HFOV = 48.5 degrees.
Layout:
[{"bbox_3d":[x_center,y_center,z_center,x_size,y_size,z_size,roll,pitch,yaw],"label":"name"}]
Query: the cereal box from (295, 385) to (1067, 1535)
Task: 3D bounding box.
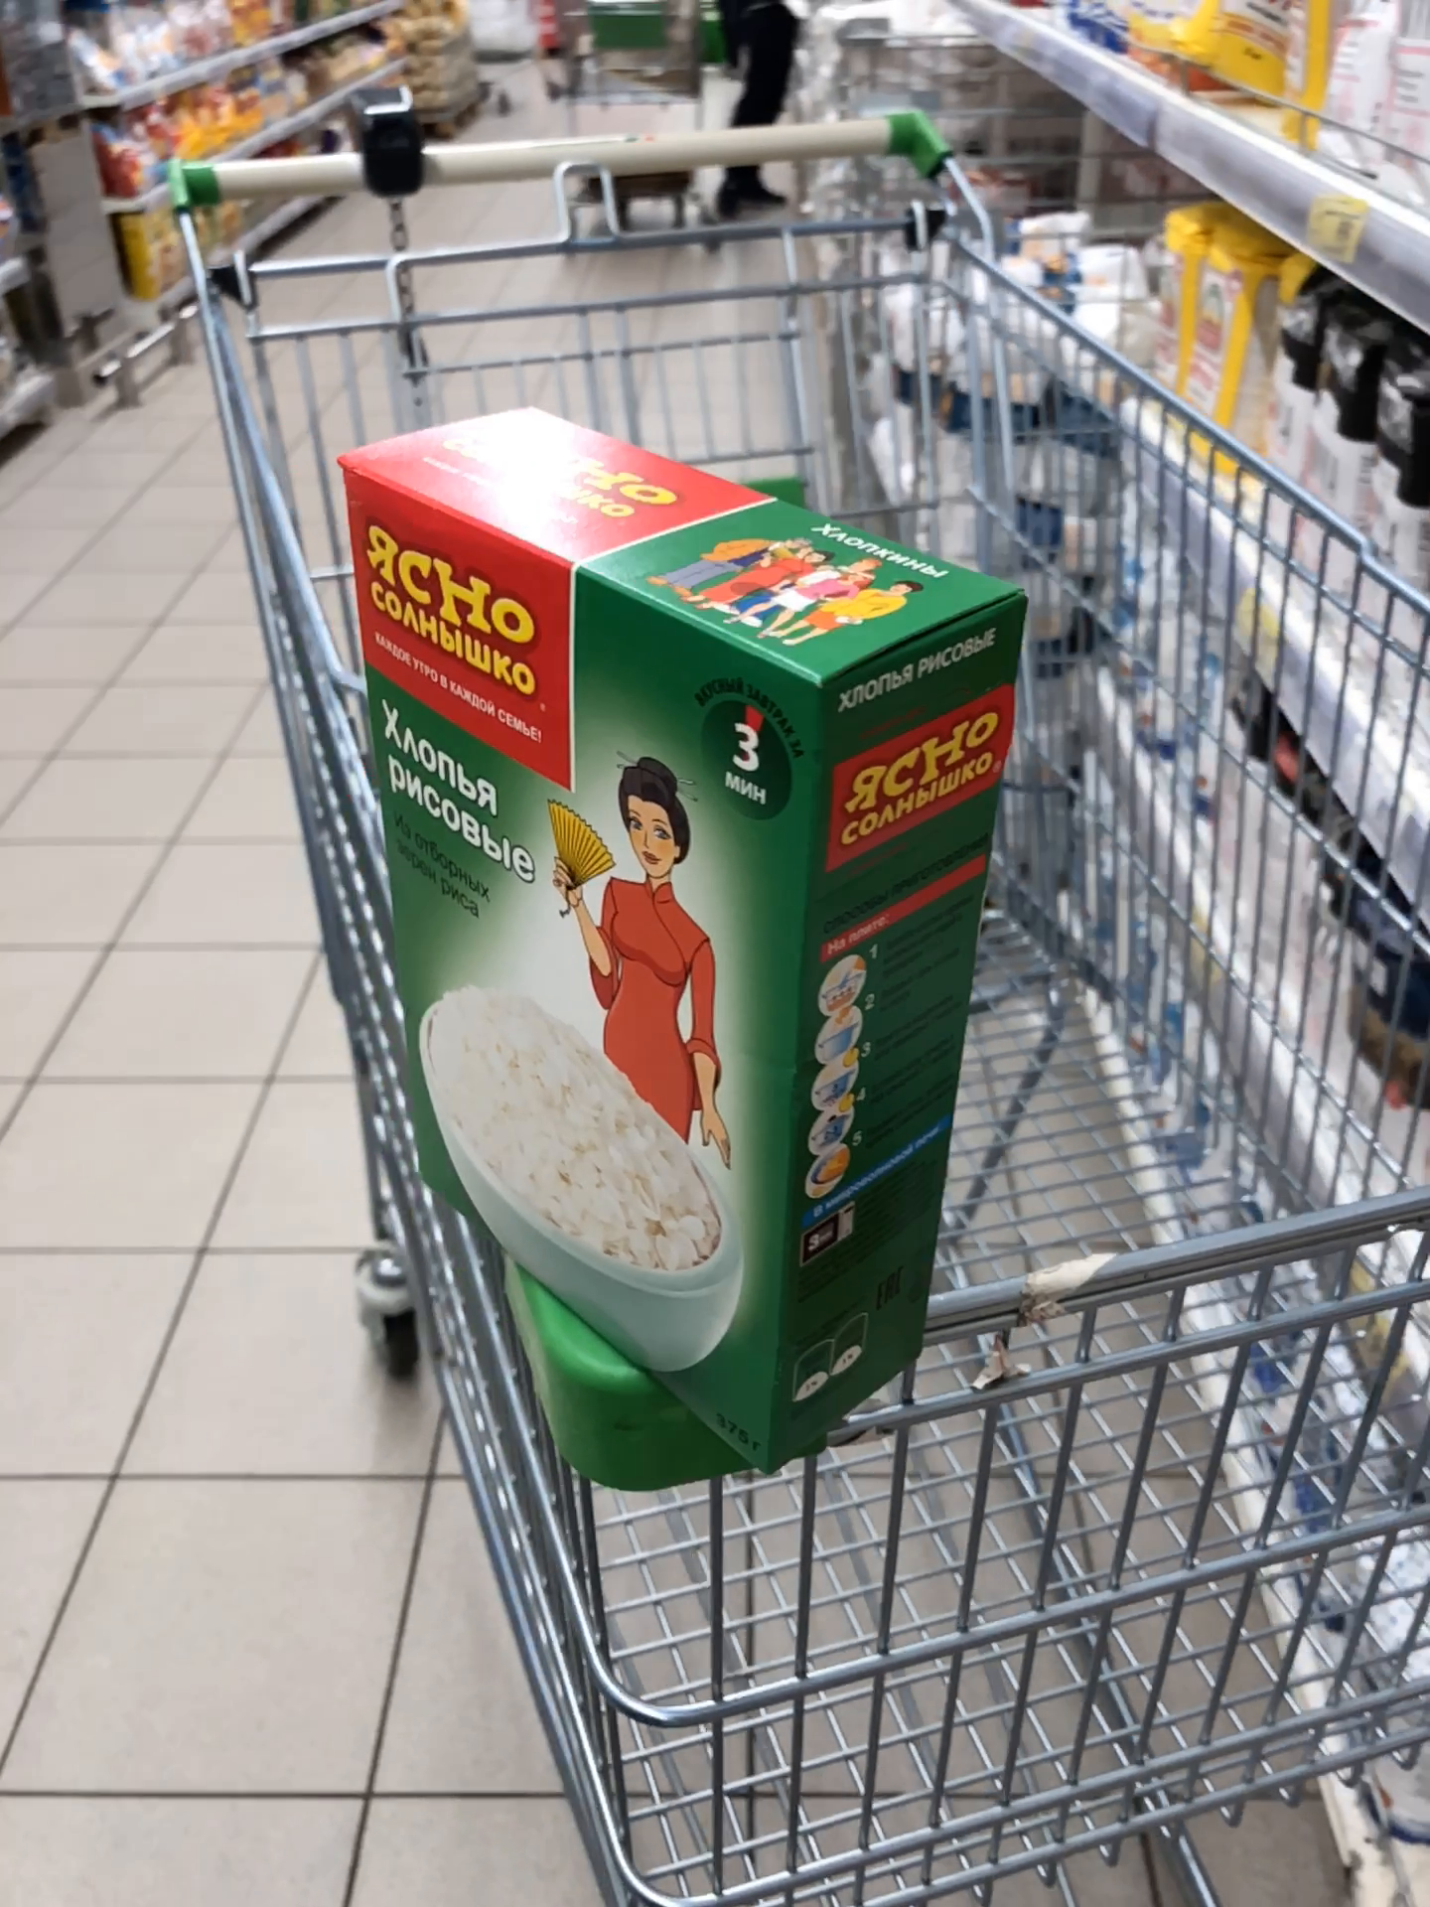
[{"bbox_3d":[-0.013,0.000,0.323,0.050,0.189,0.140,-28,44,-34],"label":"cereal box"}]
